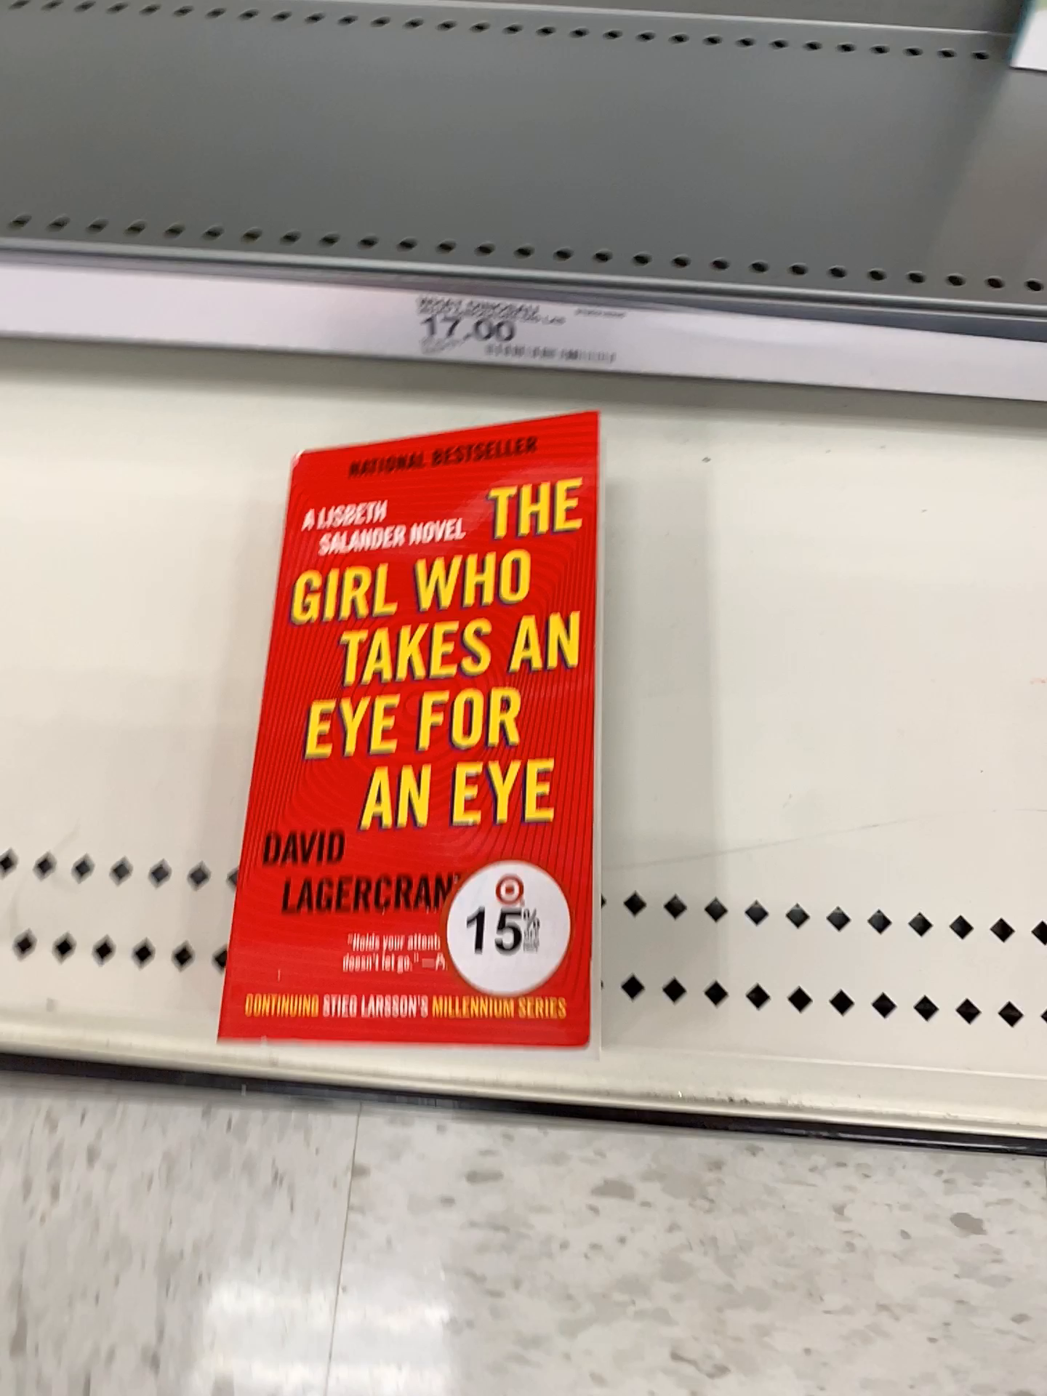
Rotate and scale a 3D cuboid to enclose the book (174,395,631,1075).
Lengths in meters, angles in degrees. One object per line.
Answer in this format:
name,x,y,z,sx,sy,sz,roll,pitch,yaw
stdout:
book,-0.027,0.006,0.328,0.115,0.046,0.200,1,69,1
